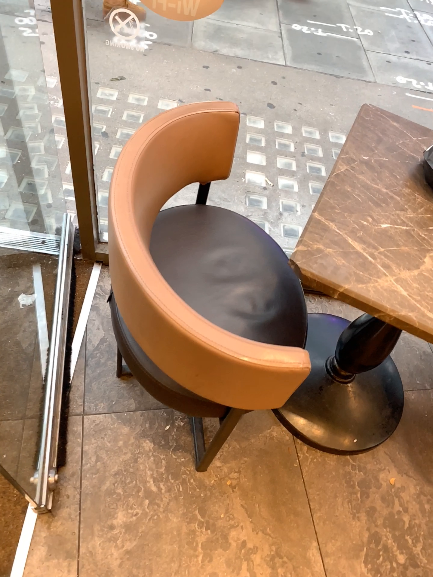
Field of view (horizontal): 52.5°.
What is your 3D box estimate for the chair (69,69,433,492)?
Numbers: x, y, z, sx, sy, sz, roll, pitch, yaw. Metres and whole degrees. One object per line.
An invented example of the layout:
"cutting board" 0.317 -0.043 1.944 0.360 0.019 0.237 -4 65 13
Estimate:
"chair" 0.007 0.017 1.085 0.510 0.655 0.766 6 54 -8
